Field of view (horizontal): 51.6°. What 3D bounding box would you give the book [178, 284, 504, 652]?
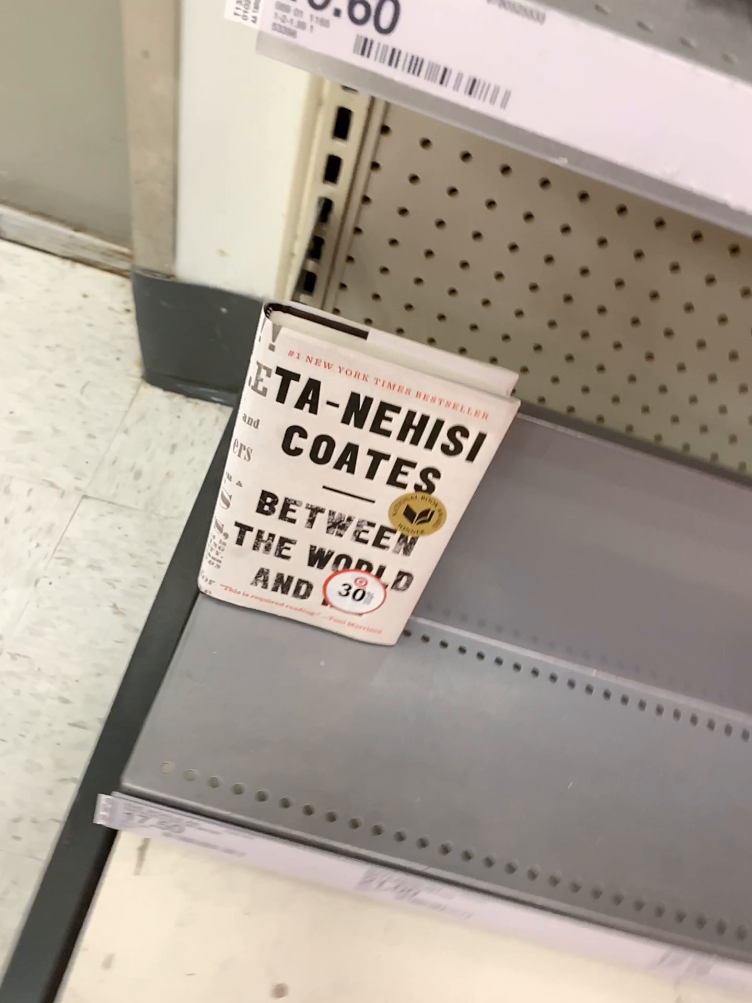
[{"bbox_3d":[-0.027,-0.006,0.418,0.129,0.187,0.030,16,37,-5],"label":"book"}]
